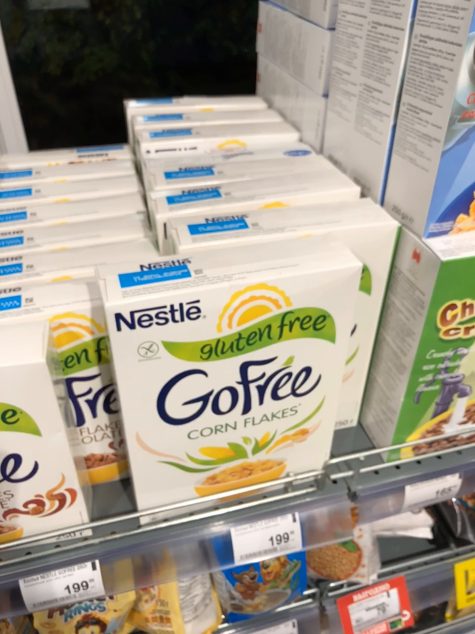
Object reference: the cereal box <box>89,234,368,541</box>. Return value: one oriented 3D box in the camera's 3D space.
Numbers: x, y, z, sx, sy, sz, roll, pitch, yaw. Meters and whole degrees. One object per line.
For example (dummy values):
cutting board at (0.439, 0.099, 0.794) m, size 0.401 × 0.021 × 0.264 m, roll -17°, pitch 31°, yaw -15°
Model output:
cereal box at (-0.008, 0.068, 0.449) m, size 0.190 × 0.249 × 0.060 m, roll -11°, pitch 38°, yaw -15°
